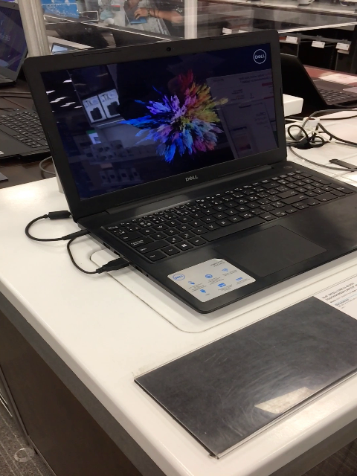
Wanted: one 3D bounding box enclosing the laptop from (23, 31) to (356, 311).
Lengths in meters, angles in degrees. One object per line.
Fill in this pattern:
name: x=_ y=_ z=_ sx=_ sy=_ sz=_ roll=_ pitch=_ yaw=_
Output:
laptop: x=0.092 y=-0.123 z=0.624 sx=0.400 sy=0.222 sz=0.312 roll=-23 pitch=42 yaw=-29
